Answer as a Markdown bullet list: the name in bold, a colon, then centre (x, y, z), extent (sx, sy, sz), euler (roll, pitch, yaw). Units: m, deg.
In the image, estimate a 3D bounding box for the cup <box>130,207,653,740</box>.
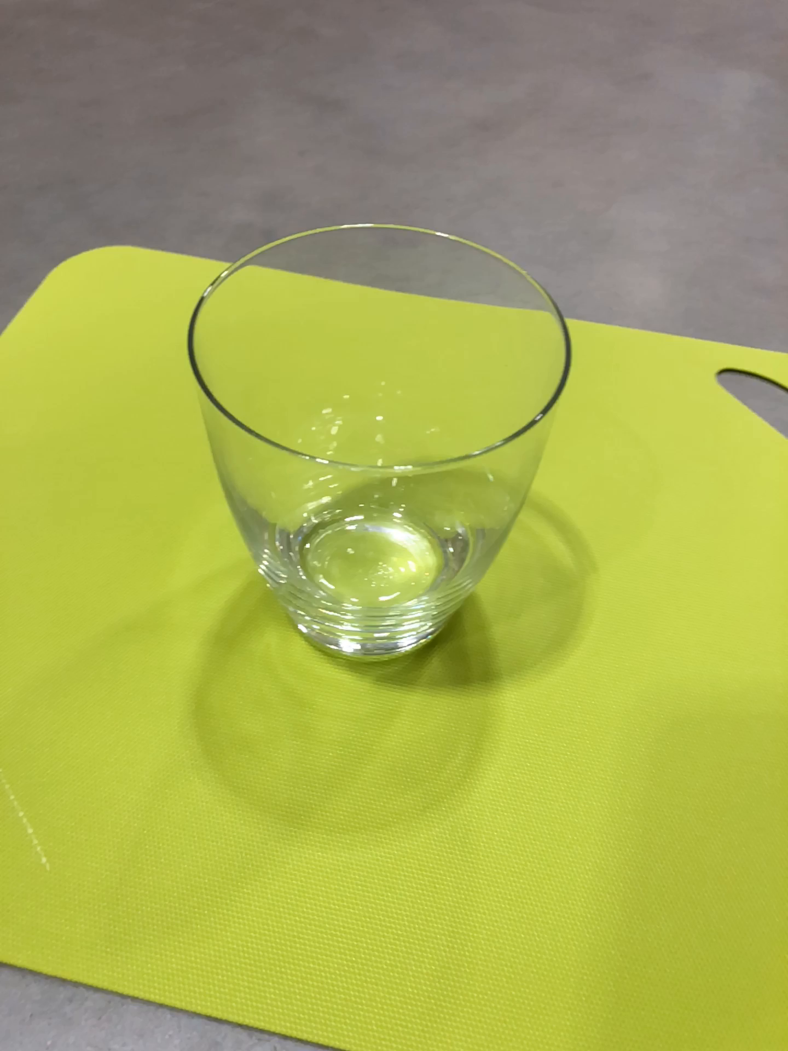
- **cup**: centre (-0.009, -0.018, 0.261), extent (0.110, 0.090, 0.110), euler (1, 50, -2)
